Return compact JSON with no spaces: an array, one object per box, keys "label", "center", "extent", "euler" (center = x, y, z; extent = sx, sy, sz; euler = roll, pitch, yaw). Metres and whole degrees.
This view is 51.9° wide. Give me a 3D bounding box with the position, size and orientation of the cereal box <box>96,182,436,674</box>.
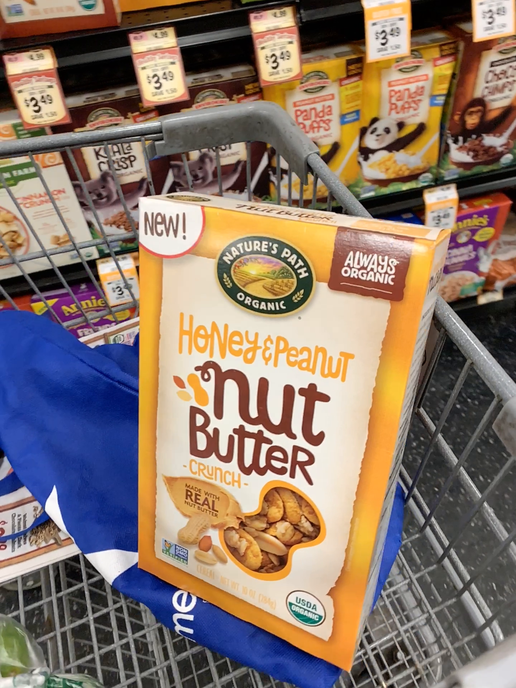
[{"label":"cereal box","center":[-0.009,0.042,0.300],"extent":[0.160,0.239,0.050],"euler":[15,23,23]}]
